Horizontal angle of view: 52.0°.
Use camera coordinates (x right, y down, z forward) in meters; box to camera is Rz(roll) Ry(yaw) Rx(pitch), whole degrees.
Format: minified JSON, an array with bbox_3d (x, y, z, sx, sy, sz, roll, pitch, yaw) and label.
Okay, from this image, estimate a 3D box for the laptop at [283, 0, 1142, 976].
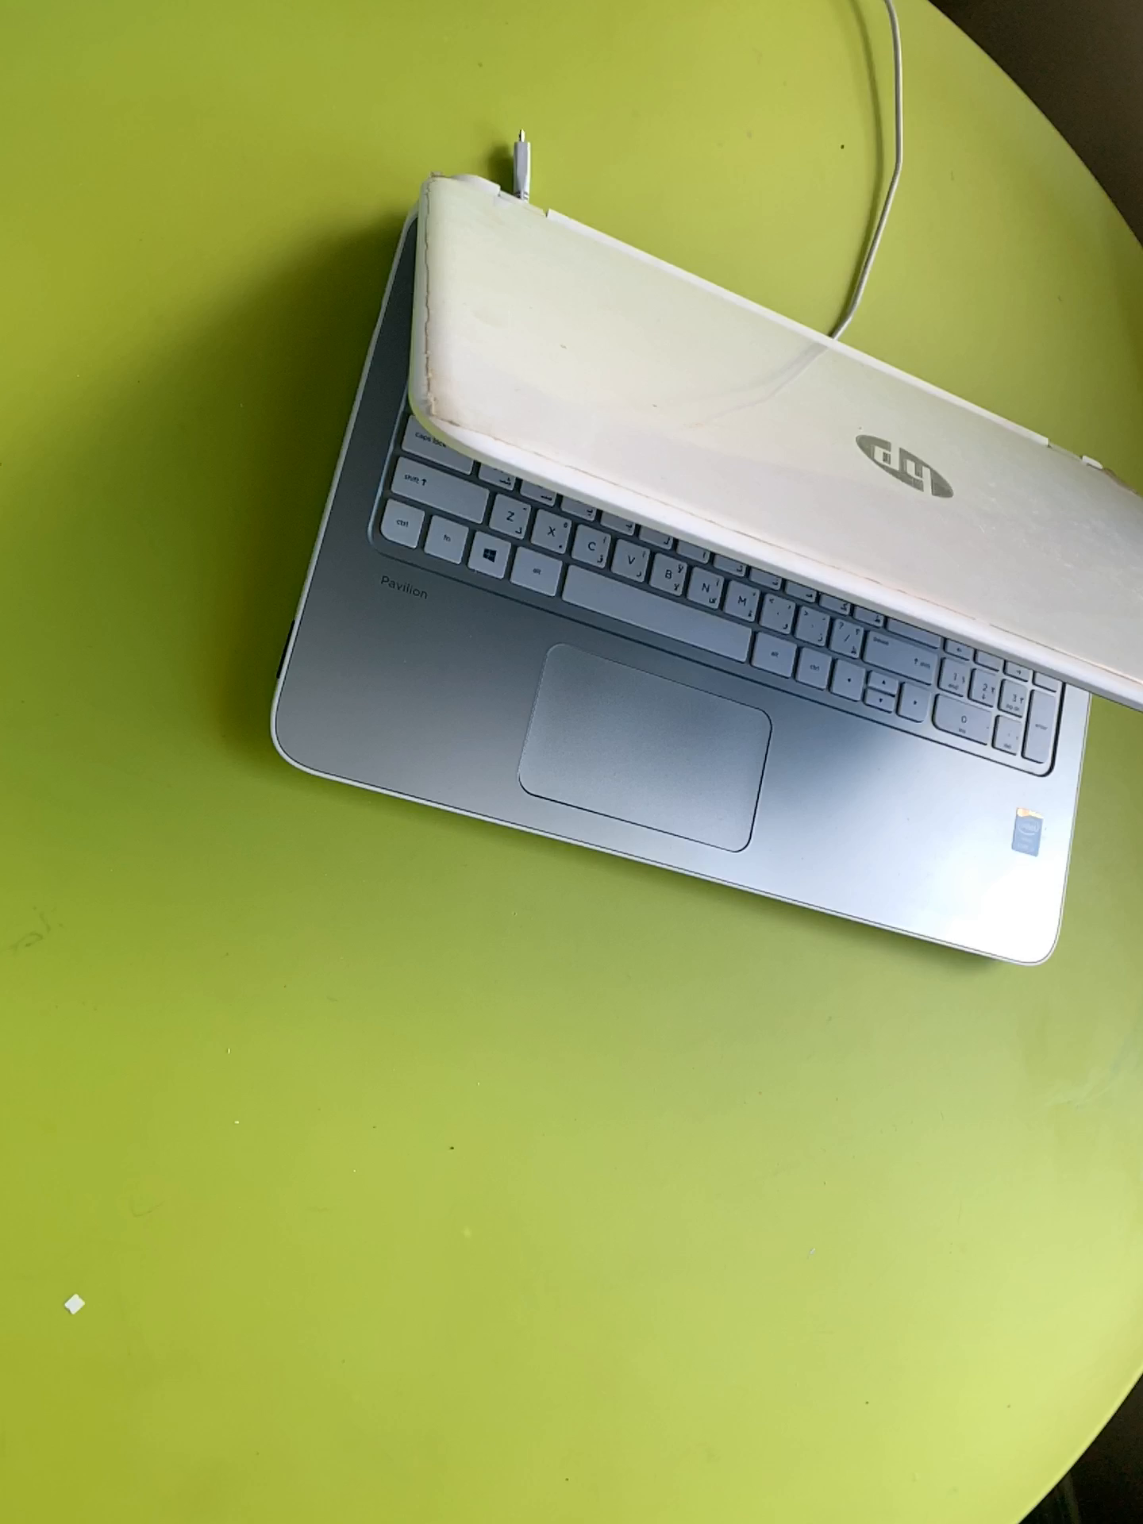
[{"bbox_3d":[0.115,-0.081,0.442,0.368,0.163,0.243,16,77,-20],"label":"laptop"}]
